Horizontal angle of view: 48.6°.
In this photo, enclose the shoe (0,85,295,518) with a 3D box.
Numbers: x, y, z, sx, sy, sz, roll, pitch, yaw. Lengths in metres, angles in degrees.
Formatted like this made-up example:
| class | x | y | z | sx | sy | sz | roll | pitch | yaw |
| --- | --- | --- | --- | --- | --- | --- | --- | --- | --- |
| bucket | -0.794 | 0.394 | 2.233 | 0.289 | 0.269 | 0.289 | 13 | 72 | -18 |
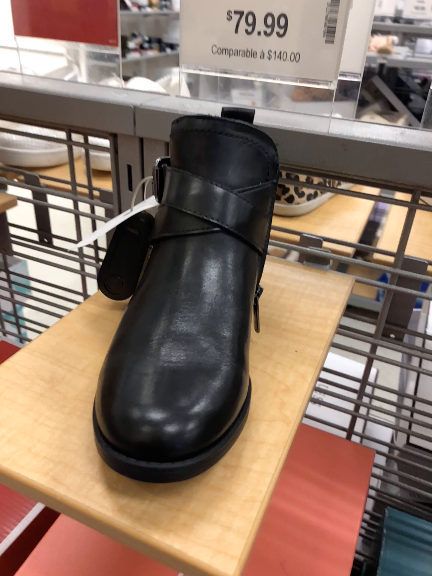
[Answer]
| class | x | y | z | sx | sy | sz | roll | pitch | yaw |
| --- | --- | --- | --- | --- | --- | --- | --- | --- | --- |
| shoe | -0.012 | -0.021 | 0.268 | 0.090 | 0.133 | 0.222 | 7 | 32 | 6 |
